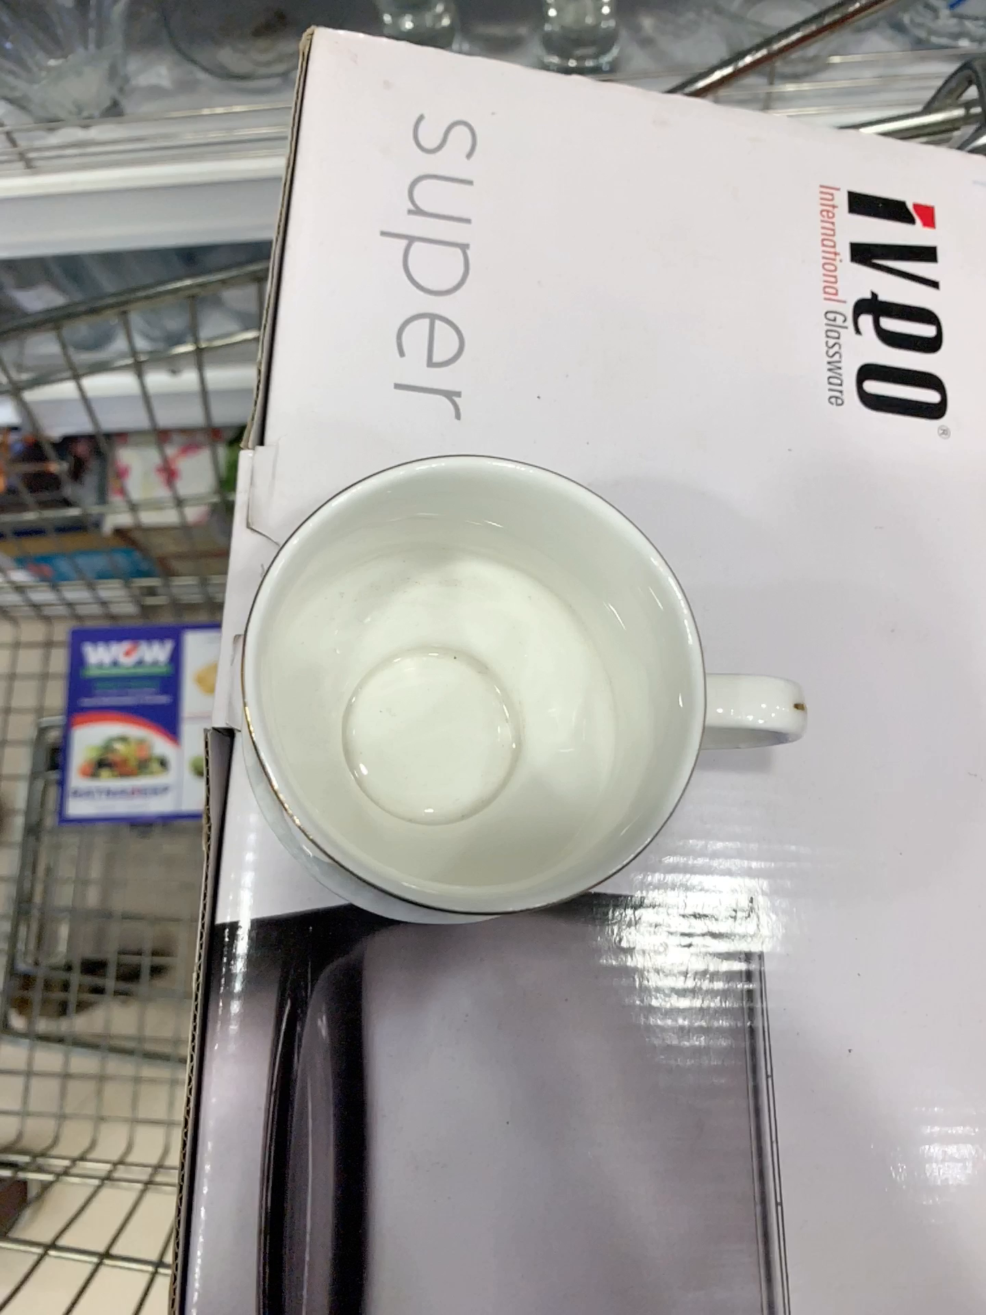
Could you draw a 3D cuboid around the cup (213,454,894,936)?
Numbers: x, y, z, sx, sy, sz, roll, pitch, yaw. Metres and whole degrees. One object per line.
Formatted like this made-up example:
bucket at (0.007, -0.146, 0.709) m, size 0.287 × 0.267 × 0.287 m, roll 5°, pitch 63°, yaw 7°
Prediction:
cup at (0.005, 0.012, 0.160) m, size 0.090 × 0.050 × 0.060 m, roll 4°, pitch 76°, yaw -15°
